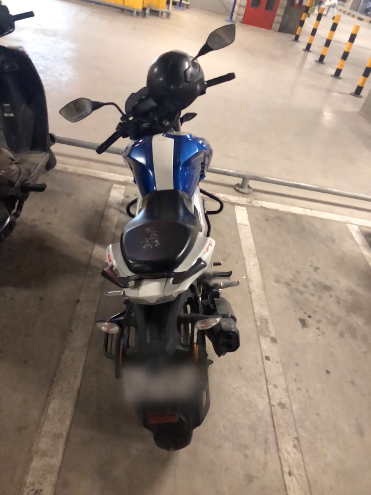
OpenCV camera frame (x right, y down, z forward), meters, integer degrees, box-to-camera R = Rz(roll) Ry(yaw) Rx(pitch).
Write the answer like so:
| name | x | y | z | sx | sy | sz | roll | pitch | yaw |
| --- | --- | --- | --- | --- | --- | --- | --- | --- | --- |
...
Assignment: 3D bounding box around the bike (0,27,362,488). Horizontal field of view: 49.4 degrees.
| name | x | y | z | sx | sy | sz | roll | pitch | yaw |
| --- | --- | --- | --- | --- | --- | --- | --- | --- | --- |
| bike | -0.245 | -0.166 | 1.949 | 0.806 | 1.162 | 1.995 | 6 | 36 | -12 |
